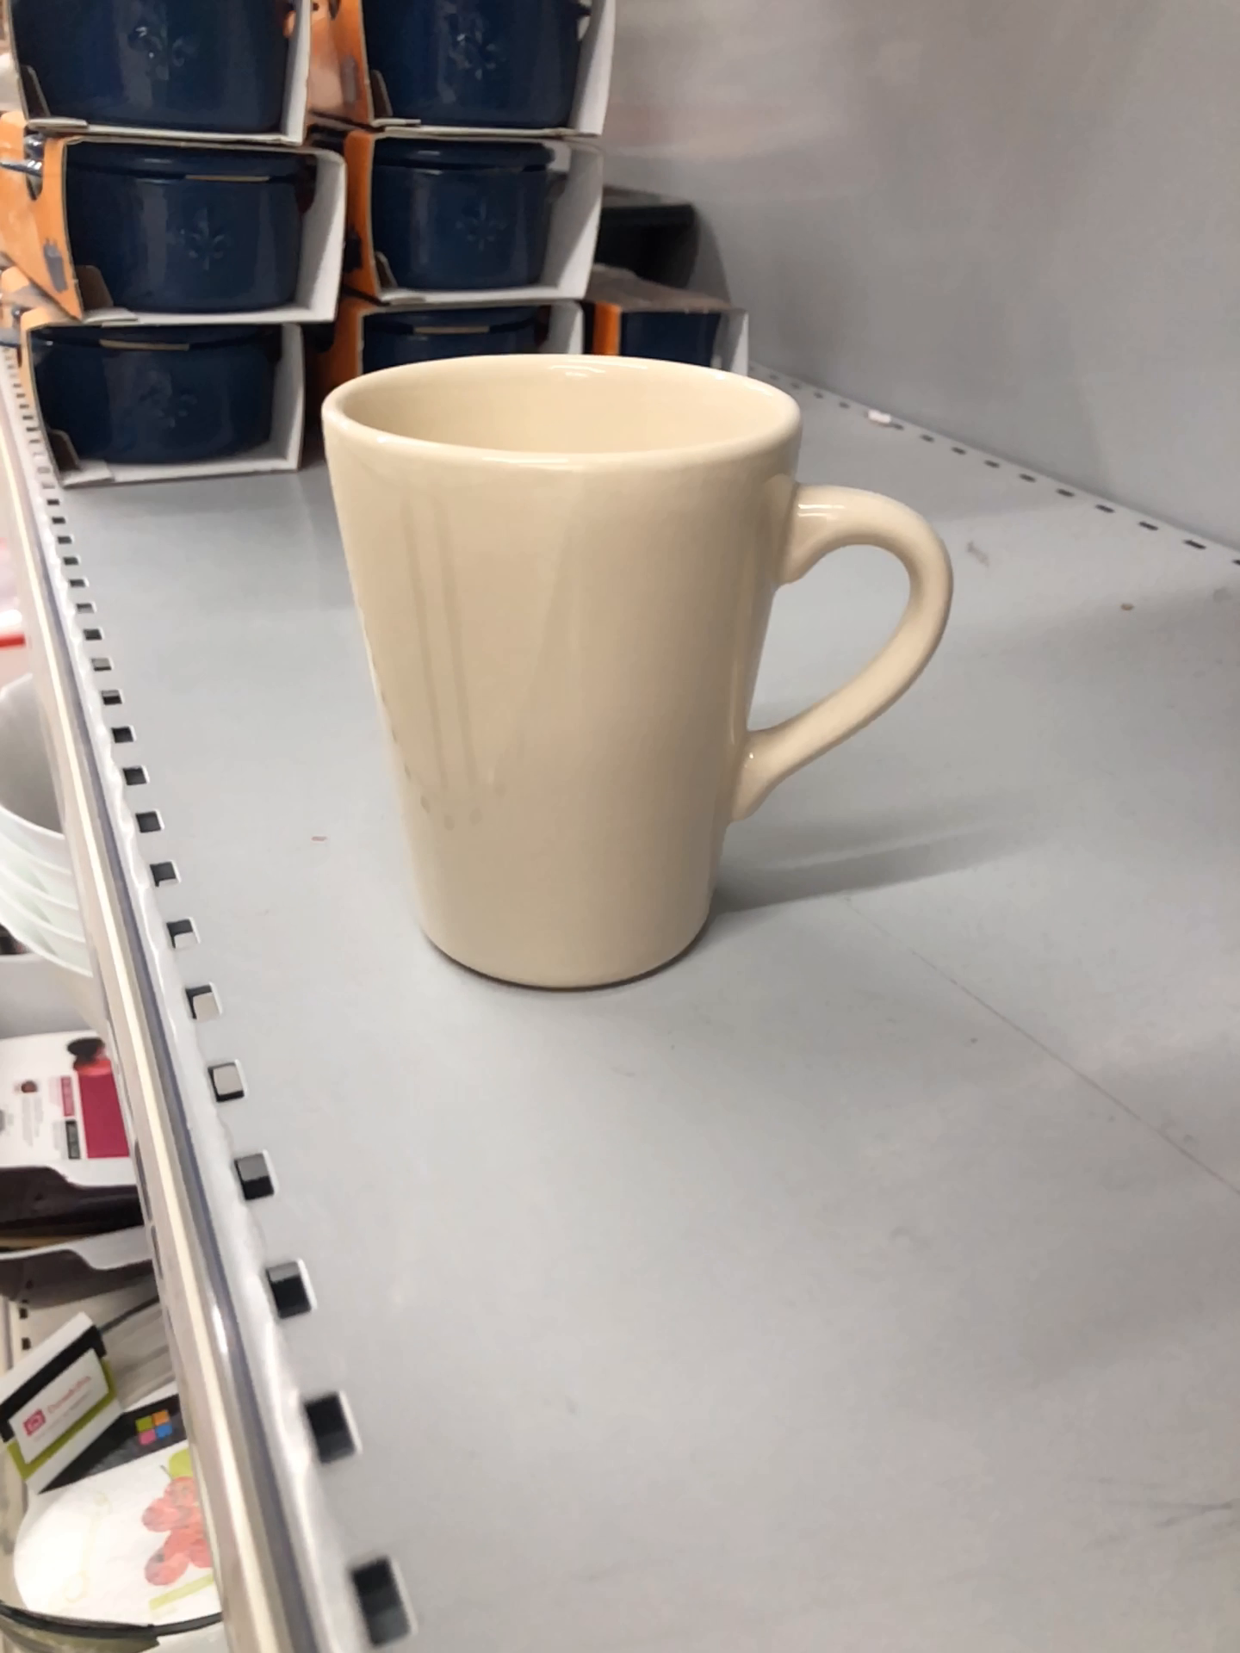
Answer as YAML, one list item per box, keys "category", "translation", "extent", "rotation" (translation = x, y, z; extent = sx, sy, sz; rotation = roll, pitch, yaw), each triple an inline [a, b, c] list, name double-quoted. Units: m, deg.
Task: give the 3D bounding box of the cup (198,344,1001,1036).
- category: "cup"
  translation: [0.000, -0.031, 0.261]
  extent: [0.119, 0.099, 0.082]
  rotation: [4, 29, 6]
